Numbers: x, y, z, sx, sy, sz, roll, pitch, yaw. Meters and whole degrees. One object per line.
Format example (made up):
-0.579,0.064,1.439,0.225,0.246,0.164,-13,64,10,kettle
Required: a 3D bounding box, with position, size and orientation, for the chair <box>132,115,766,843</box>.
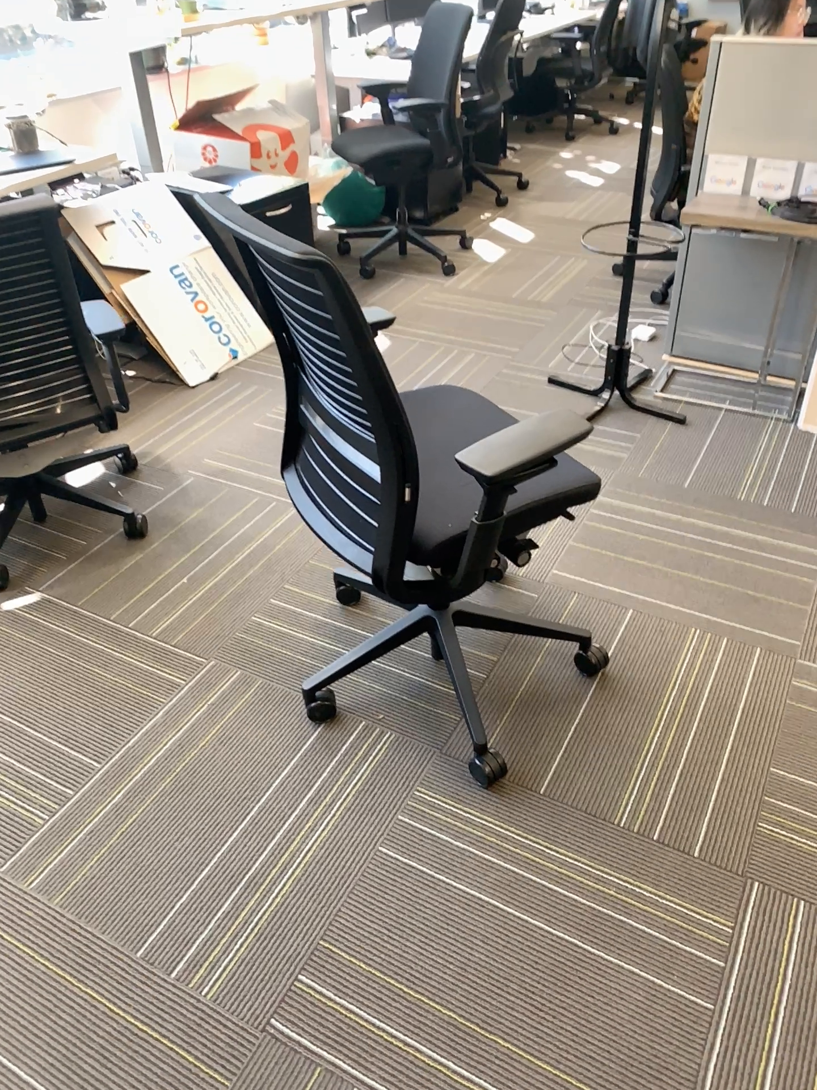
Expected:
0.034,-0.170,1.590,0.671,0.993,0.754,-23,41,-25,chair
